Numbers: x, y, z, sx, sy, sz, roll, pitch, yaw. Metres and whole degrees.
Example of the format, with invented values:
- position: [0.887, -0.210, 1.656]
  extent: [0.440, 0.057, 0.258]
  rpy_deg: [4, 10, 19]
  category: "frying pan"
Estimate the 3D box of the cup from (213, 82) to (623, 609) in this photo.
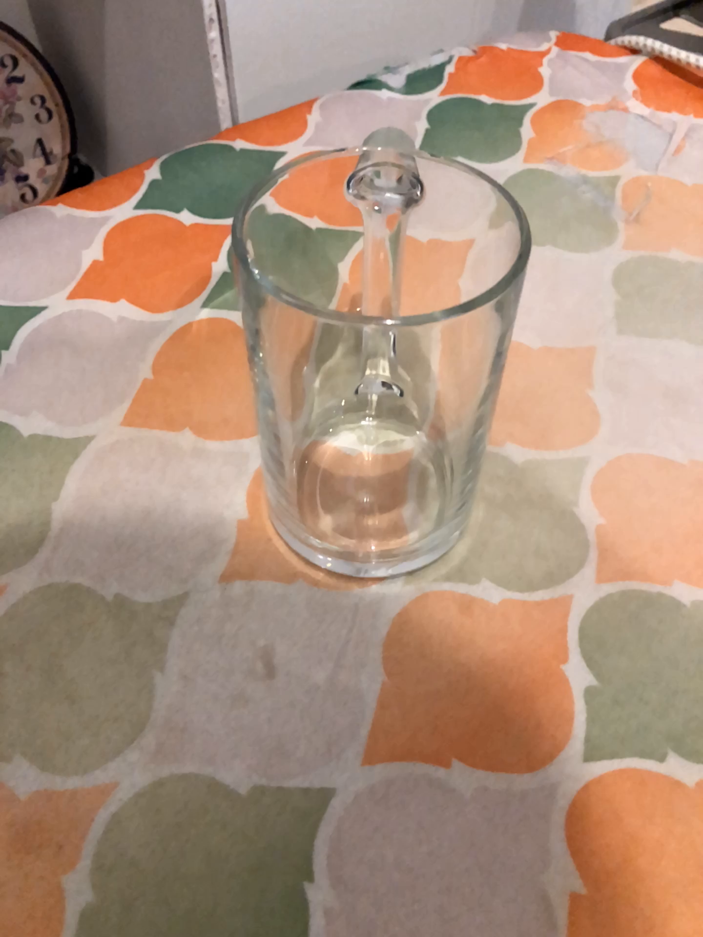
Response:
- position: [0.015, -0.034, 0.225]
  extent: [0.080, 0.099, 0.111]
  rpy_deg: [2, 53, 1]
  category: "cup"
